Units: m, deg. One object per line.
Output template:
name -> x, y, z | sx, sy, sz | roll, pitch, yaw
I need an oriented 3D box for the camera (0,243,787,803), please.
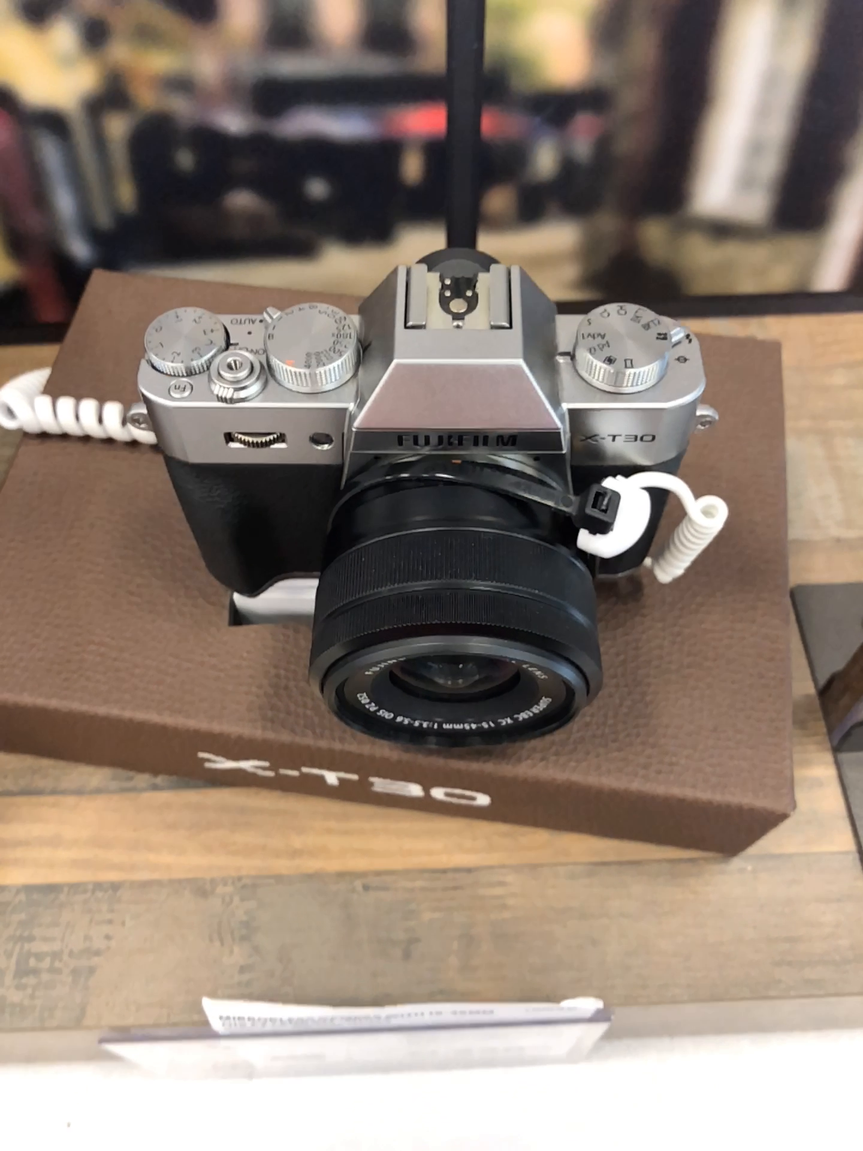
camera -> -0.006, -0.009, 0.215 | 0.130, 0.080, 0.090 | 2, 59, 2
